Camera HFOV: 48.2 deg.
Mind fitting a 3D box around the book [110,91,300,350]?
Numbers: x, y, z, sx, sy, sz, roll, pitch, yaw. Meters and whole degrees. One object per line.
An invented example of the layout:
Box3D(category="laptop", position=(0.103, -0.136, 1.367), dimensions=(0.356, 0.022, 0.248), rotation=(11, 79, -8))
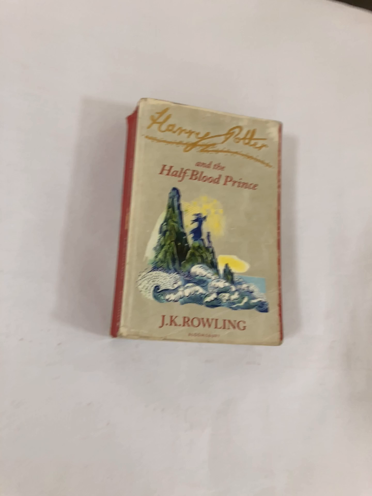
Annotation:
Box3D(category="book", position=(0.016, -0.016, 0.325), dimensions=(0.129, 0.050, 0.181), rotation=(6, 76, -16))
